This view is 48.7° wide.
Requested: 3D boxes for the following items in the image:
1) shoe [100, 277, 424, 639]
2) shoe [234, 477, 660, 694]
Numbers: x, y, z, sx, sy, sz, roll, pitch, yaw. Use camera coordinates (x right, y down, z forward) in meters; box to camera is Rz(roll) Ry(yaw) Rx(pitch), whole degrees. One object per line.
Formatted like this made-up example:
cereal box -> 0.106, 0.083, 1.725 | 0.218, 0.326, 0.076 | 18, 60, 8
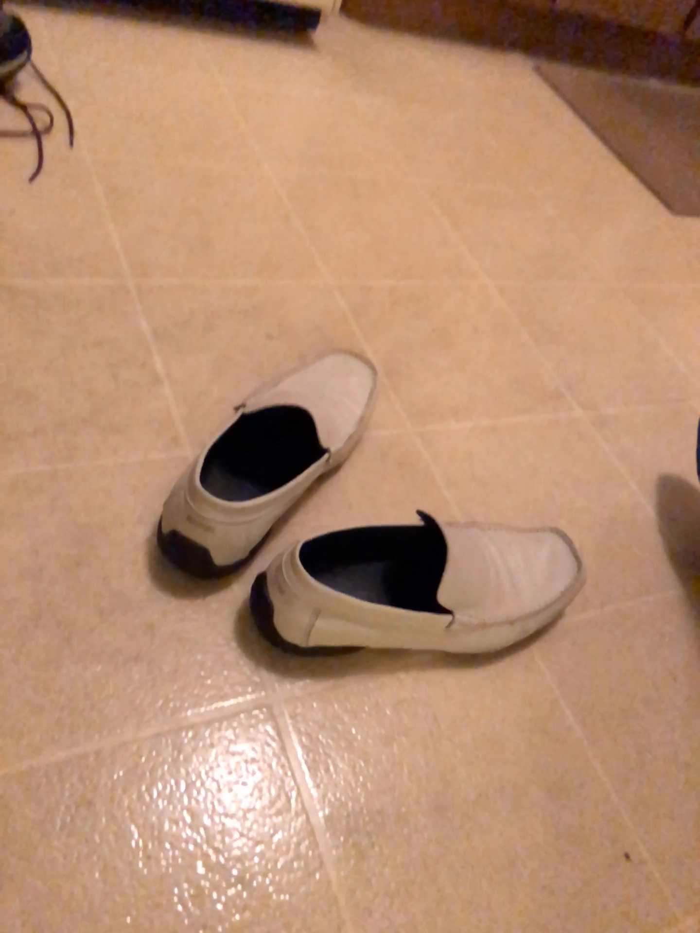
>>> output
shoe -> -0.058, -0.025, 0.634 | 0.110, 0.097, 0.308 | 30, 46, 5
shoe -> 0.071, 0.083, 0.591 | 0.290, 0.097, 0.111 | -1, 51, -23
